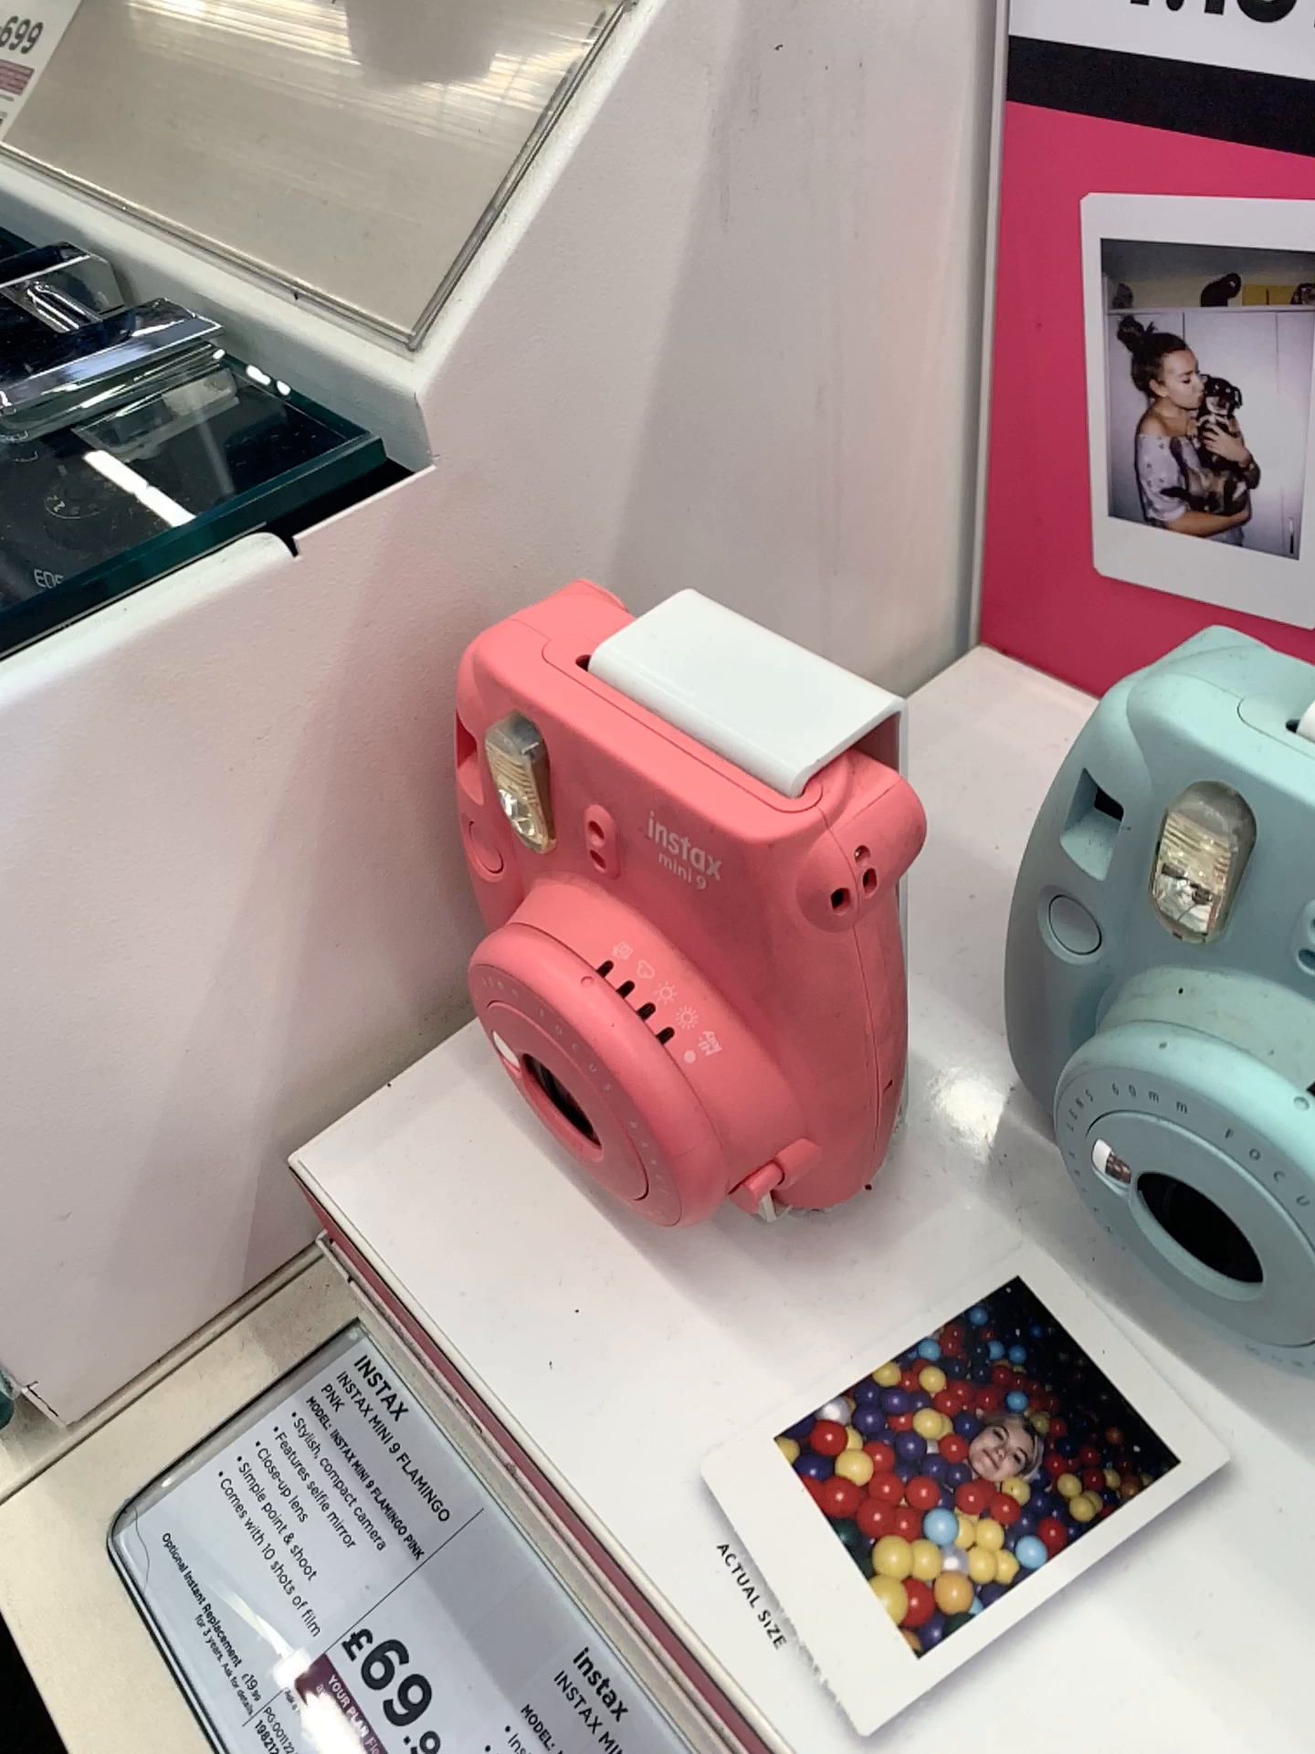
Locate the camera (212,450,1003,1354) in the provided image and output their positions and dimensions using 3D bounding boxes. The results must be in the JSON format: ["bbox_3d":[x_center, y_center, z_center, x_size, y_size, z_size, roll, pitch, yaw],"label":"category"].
[{"bbox_3d":[-0.007,0.002,0.277,0.080,0.119,0.121,-36,51,-23],"label":"camera"}]
